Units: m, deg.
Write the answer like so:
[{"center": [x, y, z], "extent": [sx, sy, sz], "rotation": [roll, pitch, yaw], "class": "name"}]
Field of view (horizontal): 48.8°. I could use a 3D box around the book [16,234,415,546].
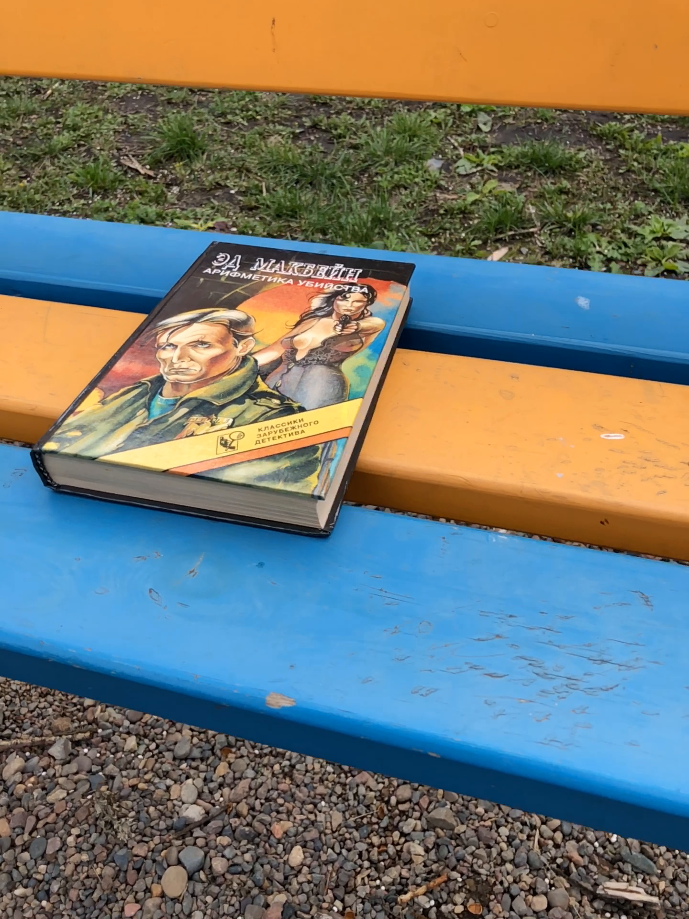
[{"center": [-0.049, -0.053, 0.397], "extent": [0.135, 0.030, 0.211], "rotation": [9, 42, 11], "class": "book"}]
